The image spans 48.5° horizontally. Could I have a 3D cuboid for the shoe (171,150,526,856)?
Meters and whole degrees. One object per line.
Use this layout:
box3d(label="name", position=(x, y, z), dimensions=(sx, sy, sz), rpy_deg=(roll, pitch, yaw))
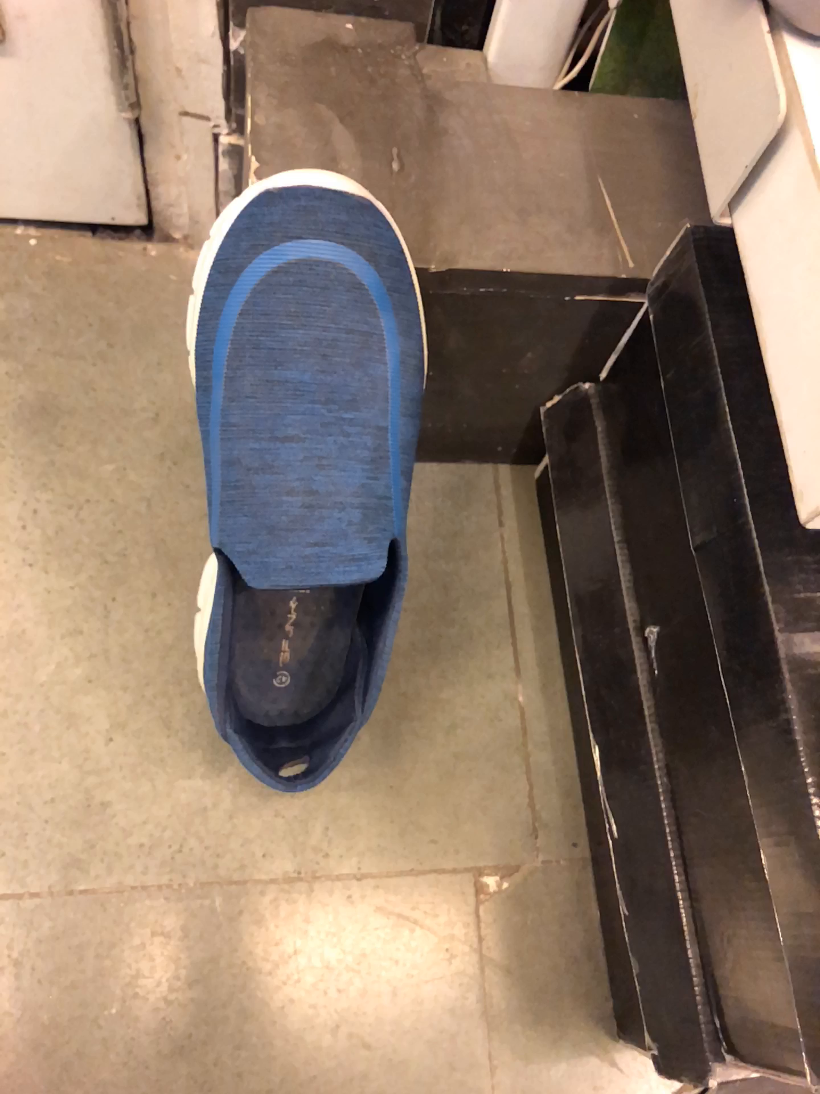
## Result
box3d(label="shoe", position=(-0.040, -0.013, 0.385), dimensions=(0.111, 0.271, 0.095), rpy_deg=(1, 23, -14))
